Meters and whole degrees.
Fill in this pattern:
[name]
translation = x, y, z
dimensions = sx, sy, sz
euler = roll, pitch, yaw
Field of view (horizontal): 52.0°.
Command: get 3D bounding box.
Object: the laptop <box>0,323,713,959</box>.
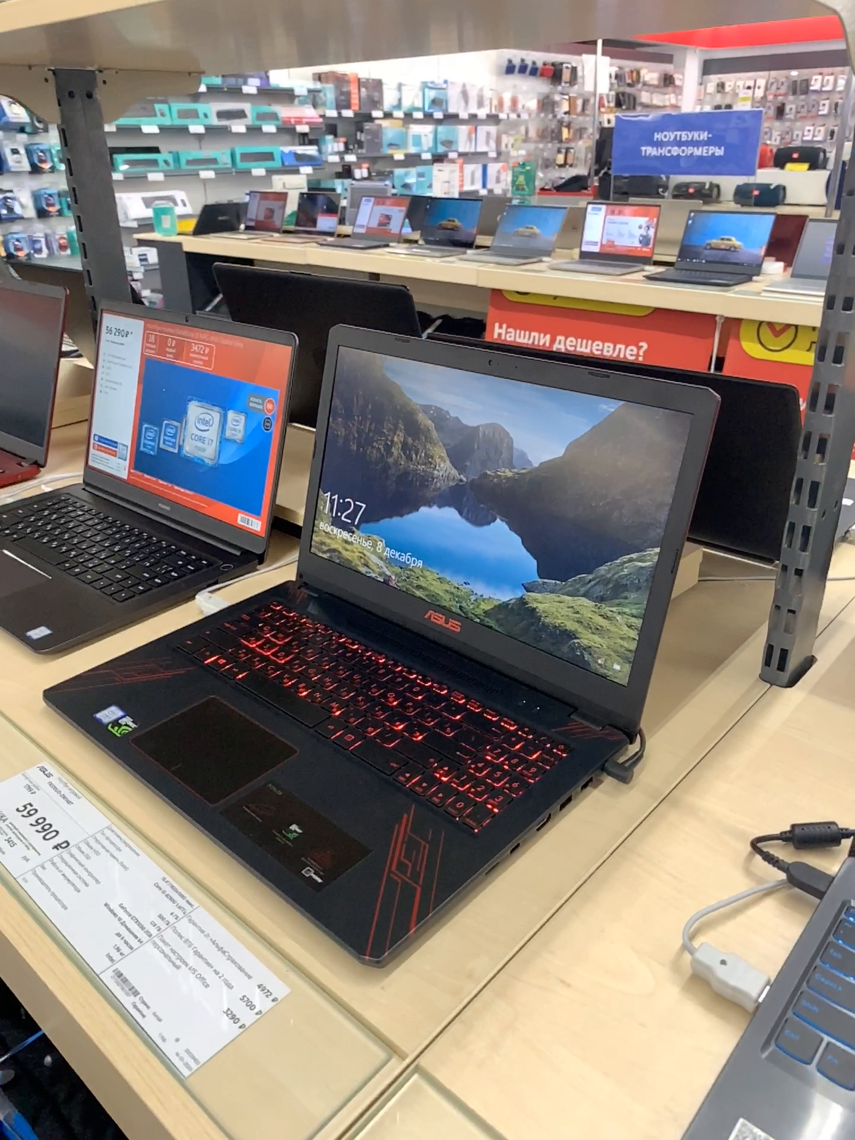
[laptop]
translation = -0.059, -0.012, 0.614
dimensions = 0.367, 0.229, 0.317
euler = 21, 33, 38
